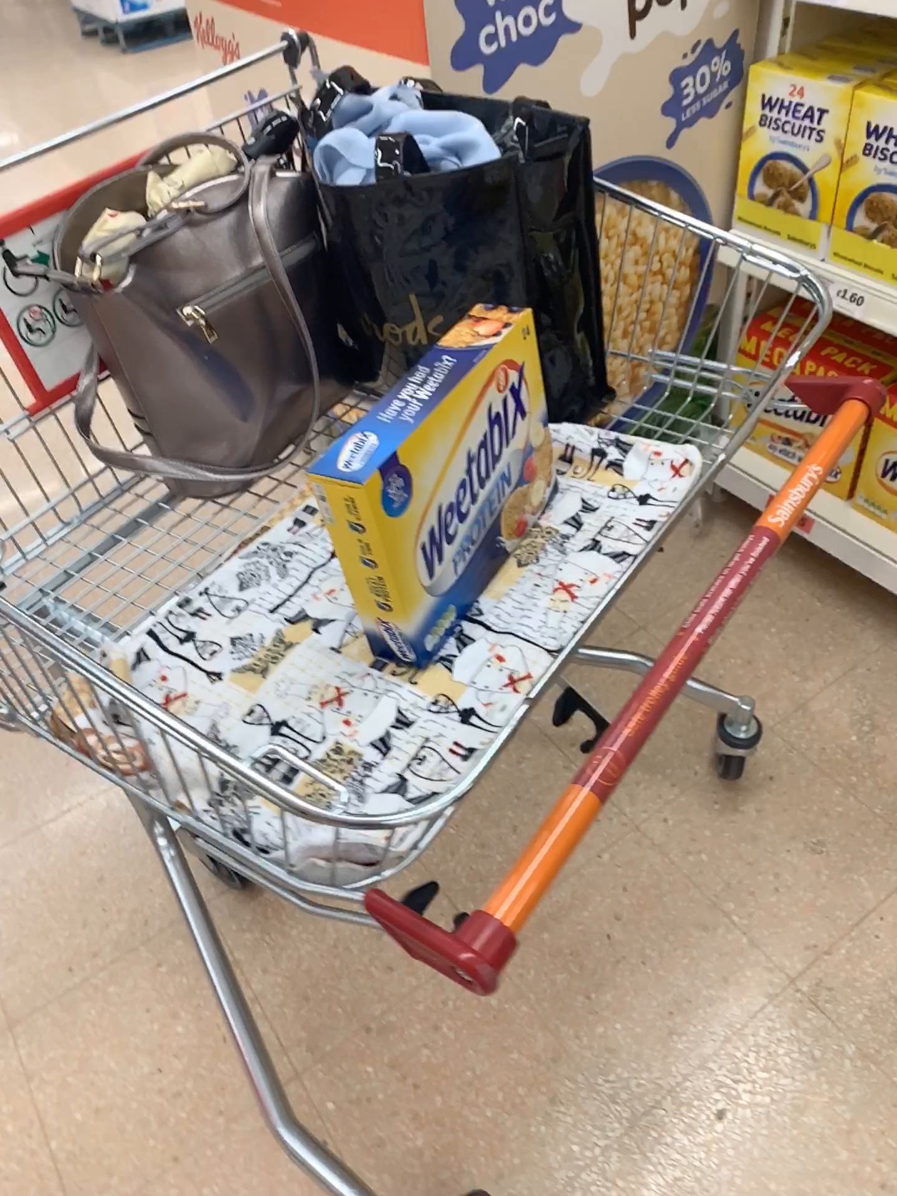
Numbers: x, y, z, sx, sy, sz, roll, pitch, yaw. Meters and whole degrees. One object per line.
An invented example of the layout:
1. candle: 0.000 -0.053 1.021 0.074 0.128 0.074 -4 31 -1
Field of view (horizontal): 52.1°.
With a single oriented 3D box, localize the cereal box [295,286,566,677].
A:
1. cereal box: 0.004 -0.102 0.748 0.060 0.198 0.262 12 46 29
